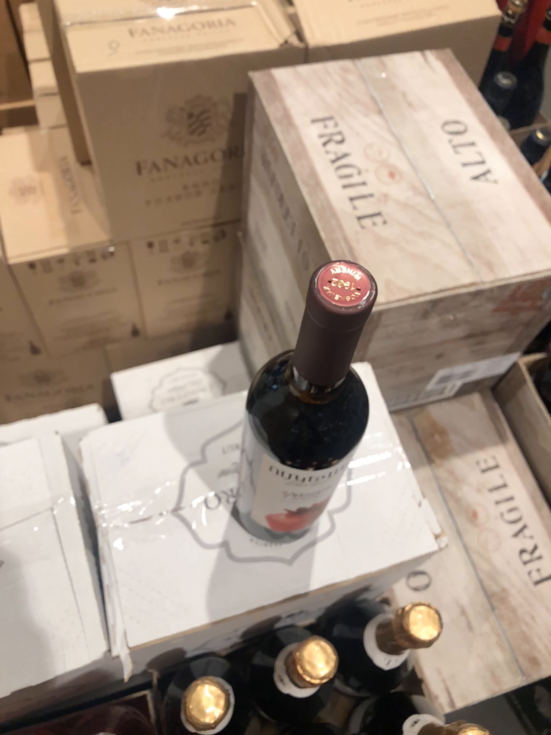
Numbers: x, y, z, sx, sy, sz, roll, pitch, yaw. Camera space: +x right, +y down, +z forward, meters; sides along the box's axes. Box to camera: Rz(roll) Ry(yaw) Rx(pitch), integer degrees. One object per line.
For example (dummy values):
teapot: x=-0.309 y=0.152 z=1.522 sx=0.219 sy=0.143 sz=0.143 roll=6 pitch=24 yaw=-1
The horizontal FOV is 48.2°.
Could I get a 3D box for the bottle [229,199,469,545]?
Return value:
bottle: x=0.020 y=0.032 z=0.398 sx=0.090 sy=0.299 sz=0.080 roll=-5 pitch=61 yaw=-7
